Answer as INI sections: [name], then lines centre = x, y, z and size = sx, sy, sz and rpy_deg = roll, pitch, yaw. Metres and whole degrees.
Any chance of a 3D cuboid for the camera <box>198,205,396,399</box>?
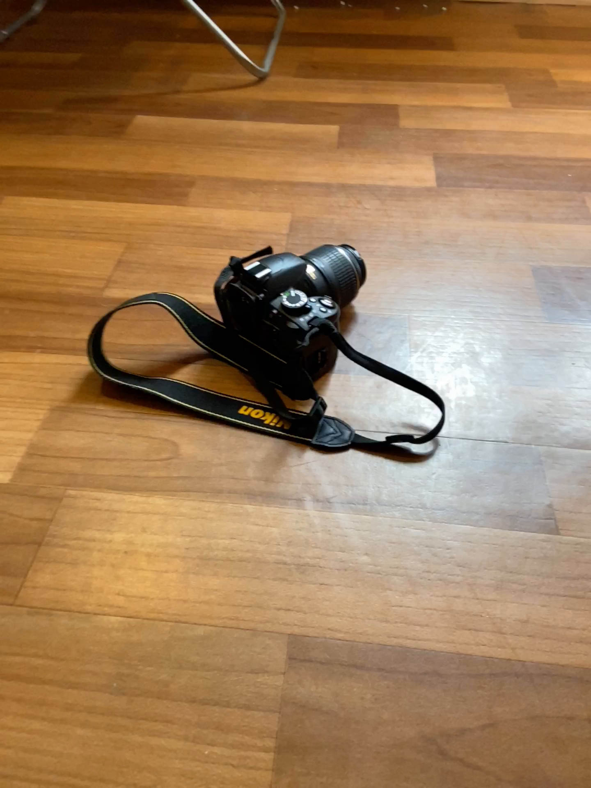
[camera]
centre = 0.003, -0.100, 0.622
size = 0.120, 0.100, 0.153
rpy_deg = 34, 55, 29
